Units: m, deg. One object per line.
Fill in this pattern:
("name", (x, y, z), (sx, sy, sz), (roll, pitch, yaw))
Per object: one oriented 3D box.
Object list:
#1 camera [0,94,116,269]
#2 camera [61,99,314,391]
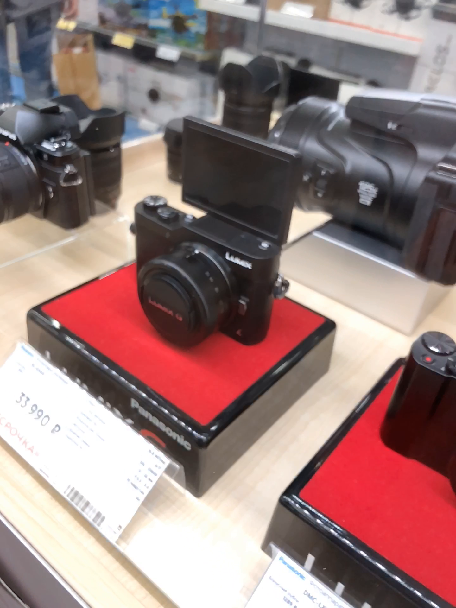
("camera", (-0.164, -0.101, 0.396), (0.108, 0.080, 0.103), (29, 41, 29))
("camera", (-0.026, -0.038, 0.295), (0.108, 0.120, 0.070), (26, 40, 26))
